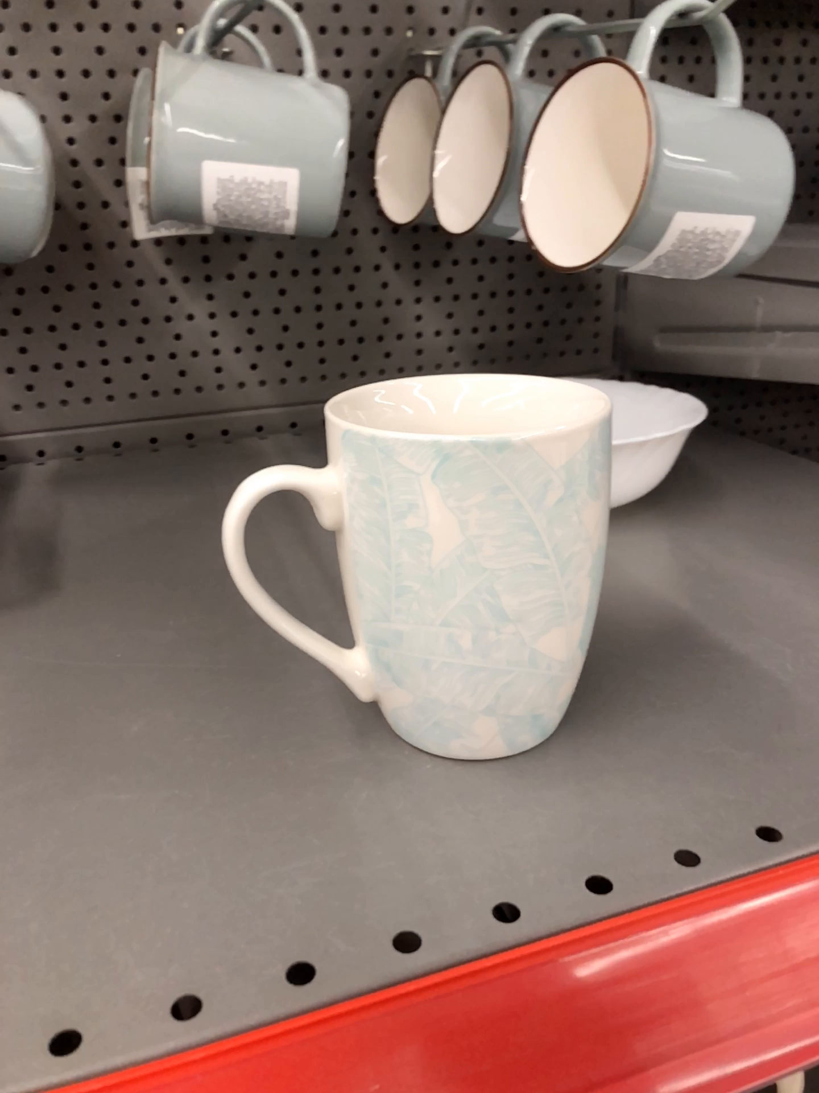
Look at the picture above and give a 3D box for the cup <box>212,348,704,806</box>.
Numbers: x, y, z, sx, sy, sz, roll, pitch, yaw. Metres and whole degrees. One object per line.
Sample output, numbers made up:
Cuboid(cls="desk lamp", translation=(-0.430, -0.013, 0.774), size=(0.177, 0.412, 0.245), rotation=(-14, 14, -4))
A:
Cuboid(cls="cup", translation=(0.008, 0.001, 0.276), size=(0.120, 0.098, 0.084), rotation=(-7, 24, -12))
